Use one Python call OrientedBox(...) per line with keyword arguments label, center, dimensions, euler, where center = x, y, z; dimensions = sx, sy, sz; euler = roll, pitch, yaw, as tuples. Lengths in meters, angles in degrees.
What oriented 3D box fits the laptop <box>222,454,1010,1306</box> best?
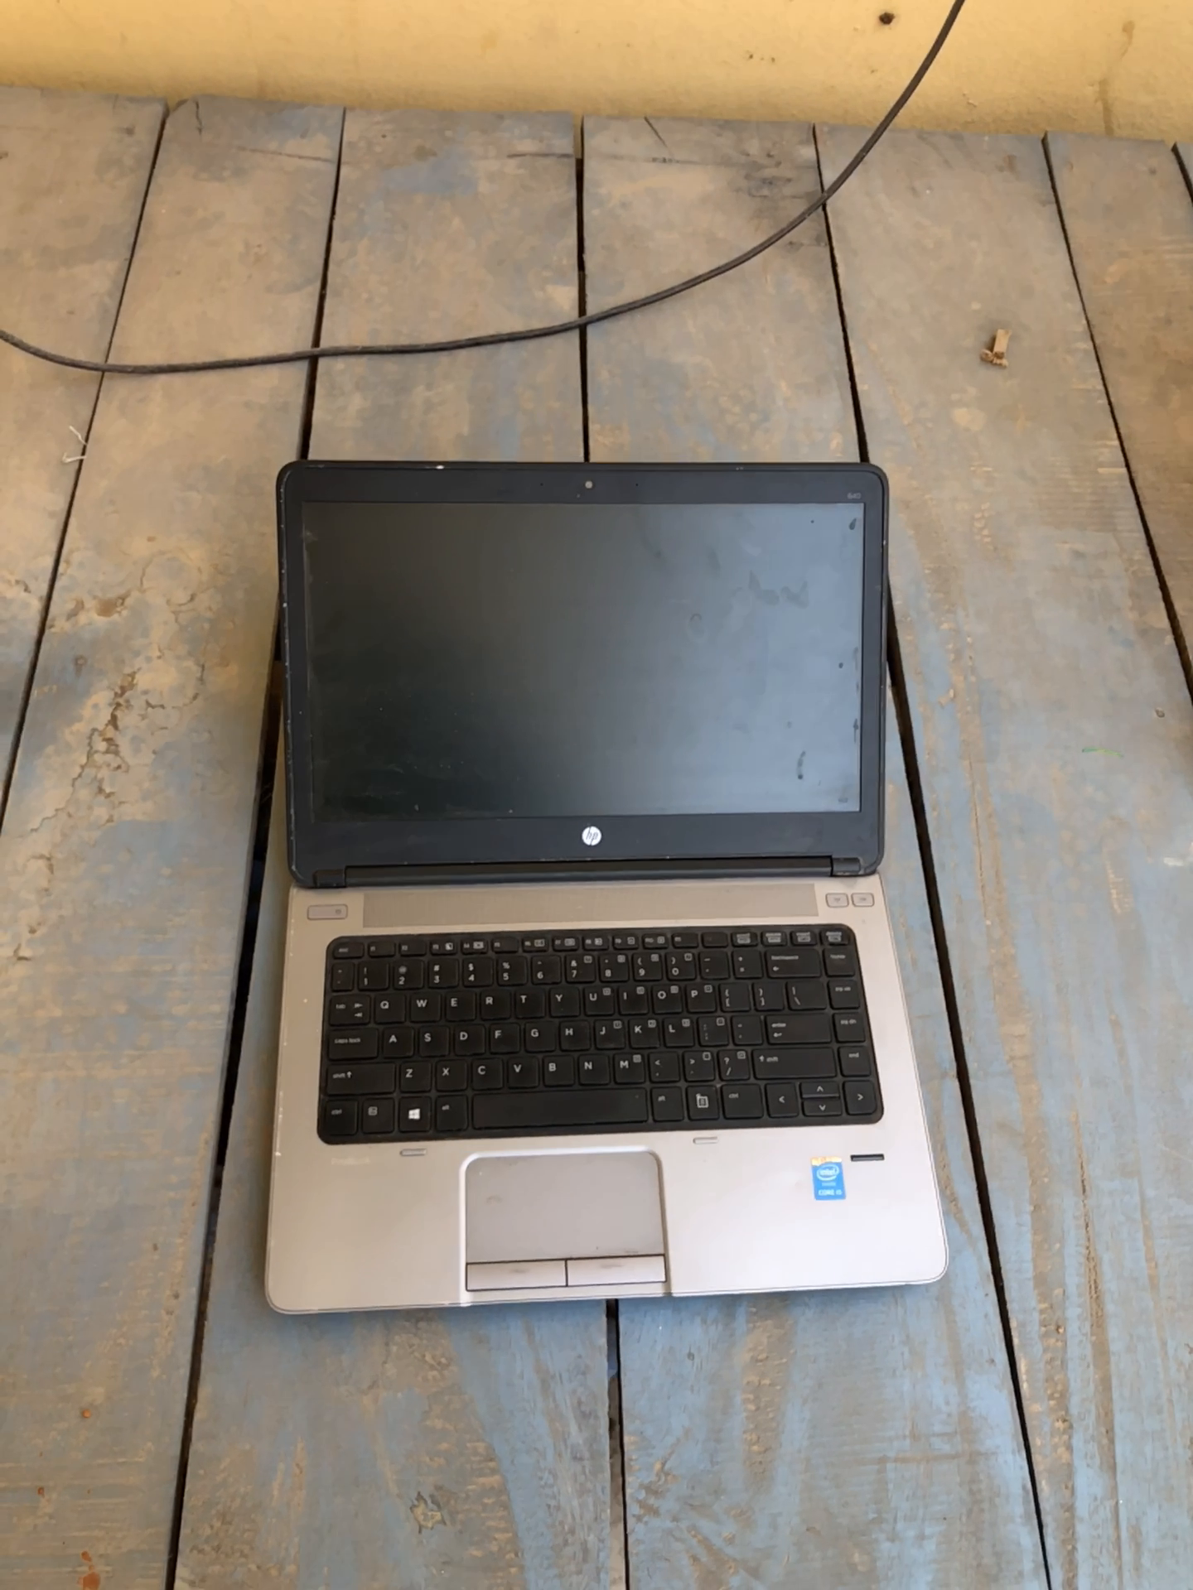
OrientedBox(label="laptop", center=(-0.002, 0.029, 0.649), dimensions=(0.306, 0.123, 0.390), euler=(-1, 63, -3))
